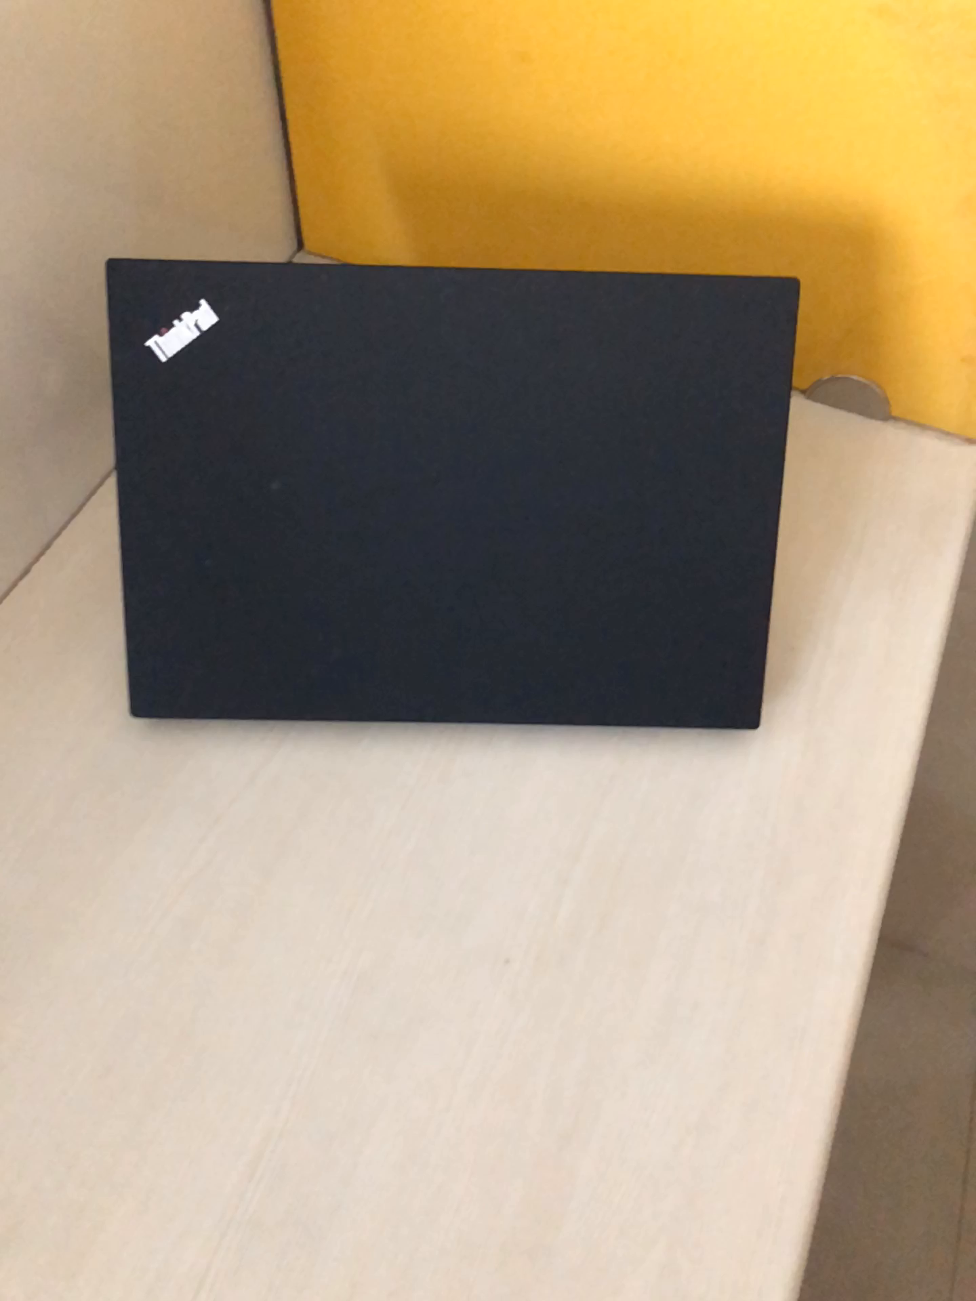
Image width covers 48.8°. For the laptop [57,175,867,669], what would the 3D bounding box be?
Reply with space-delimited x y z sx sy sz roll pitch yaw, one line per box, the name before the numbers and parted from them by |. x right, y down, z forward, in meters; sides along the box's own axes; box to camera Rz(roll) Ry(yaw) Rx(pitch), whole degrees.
laptop | -0.016 -0.131 0.609 0.349 0.166 0.241 1 52 -1
